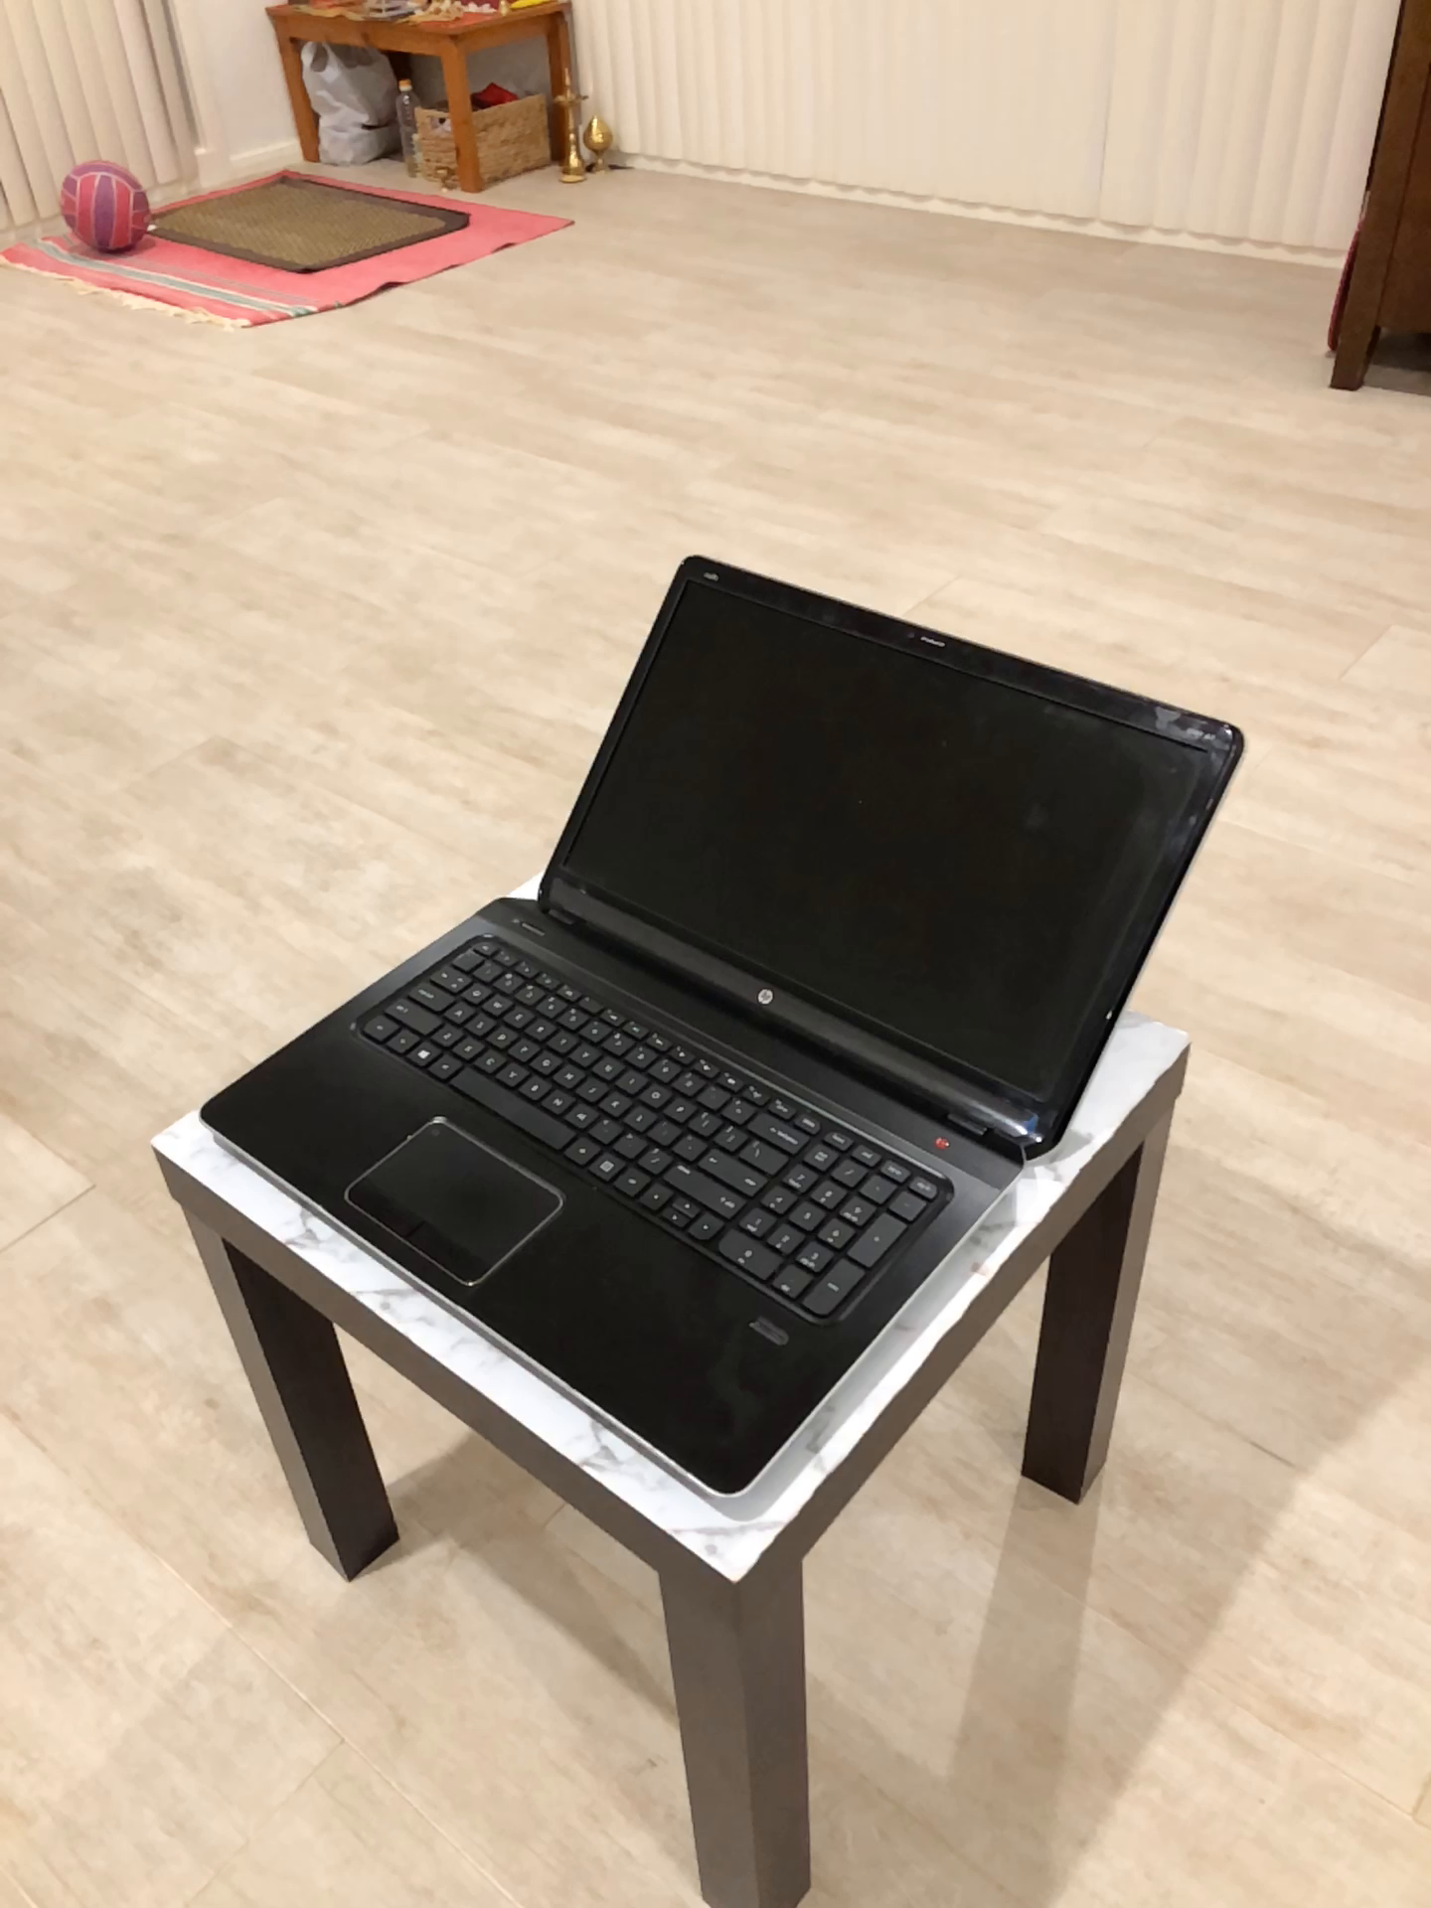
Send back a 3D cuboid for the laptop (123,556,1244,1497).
[{"bbox_3d":[-0.004,-0.012,0.860,0.387,0.169,0.439,27,48,32],"label":"laptop"}]
